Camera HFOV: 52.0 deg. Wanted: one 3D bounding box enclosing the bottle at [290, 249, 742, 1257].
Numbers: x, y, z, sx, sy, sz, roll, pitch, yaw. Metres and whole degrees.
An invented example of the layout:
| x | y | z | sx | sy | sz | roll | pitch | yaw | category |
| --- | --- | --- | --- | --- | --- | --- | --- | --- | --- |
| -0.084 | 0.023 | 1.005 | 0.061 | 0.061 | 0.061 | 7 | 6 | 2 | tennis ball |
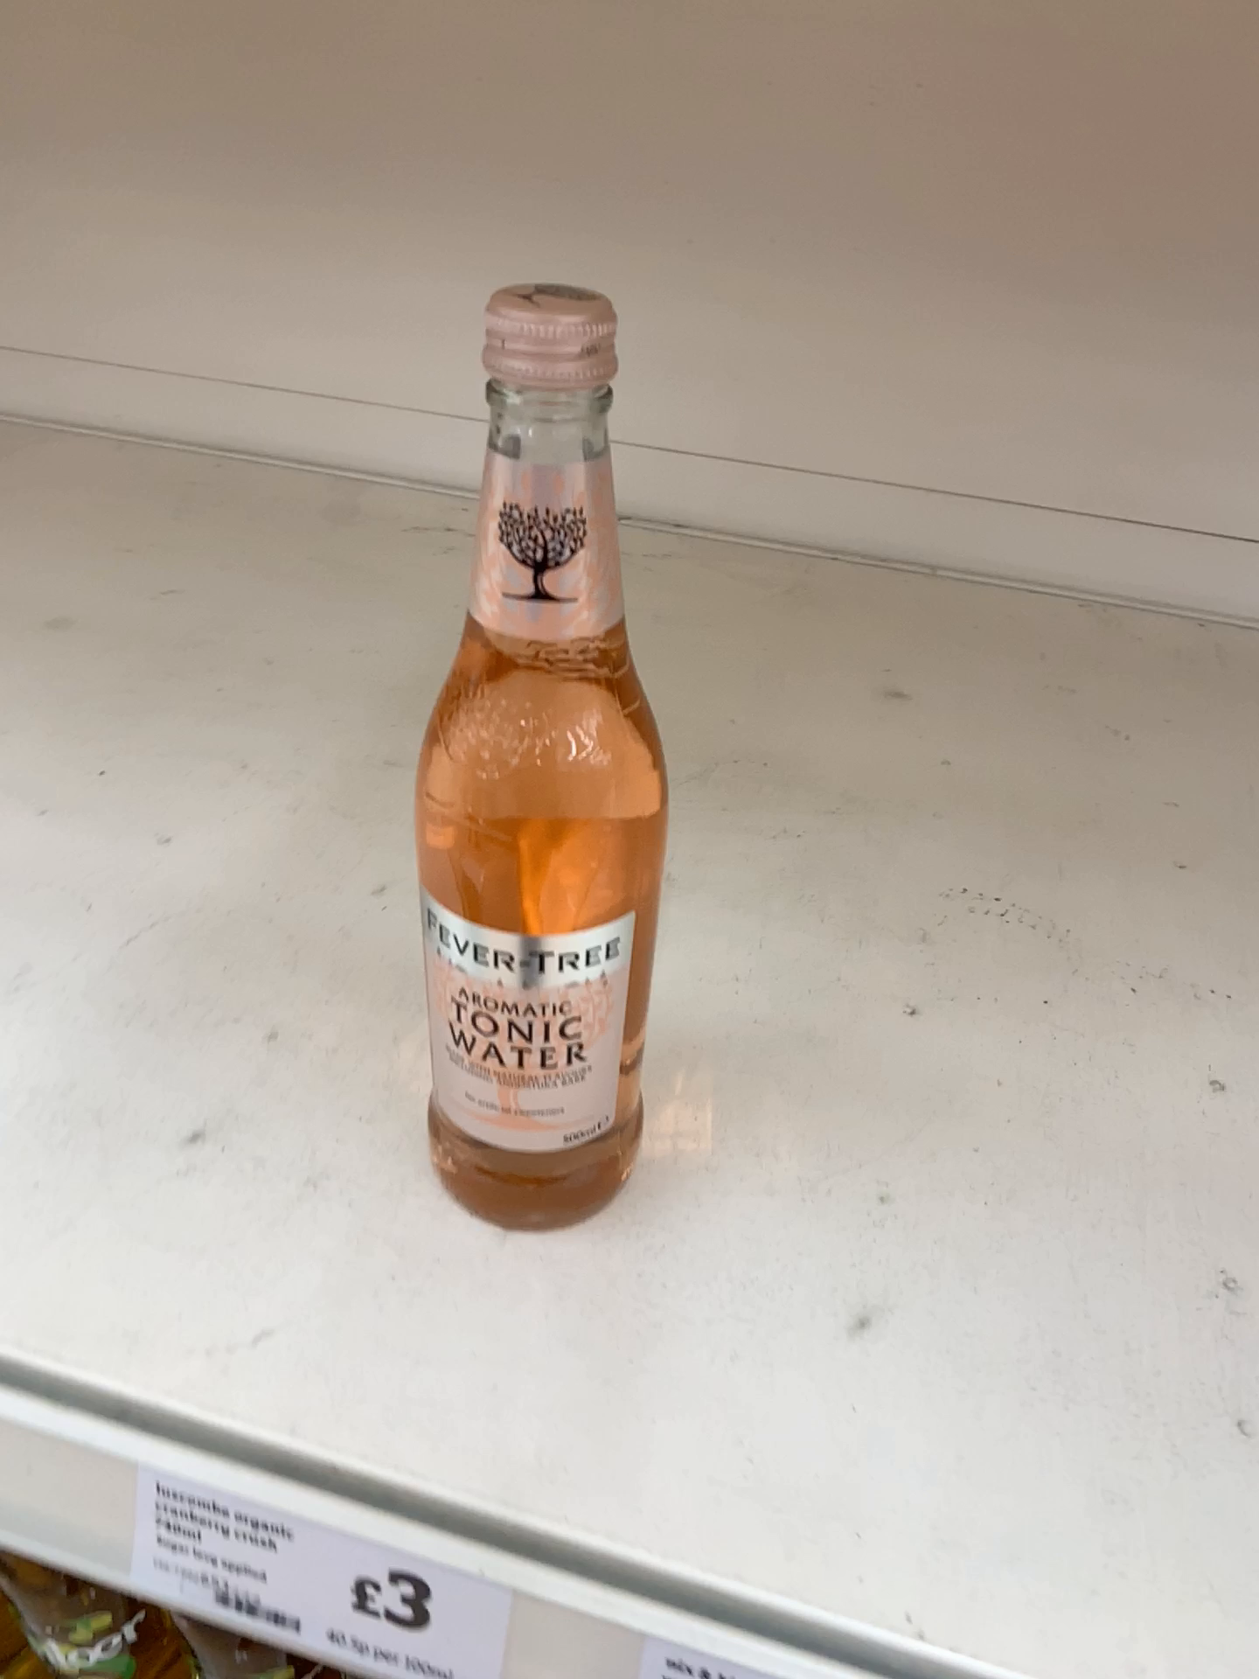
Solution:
| x | y | z | sx | sy | sz | roll | pitch | yaw | category |
| --- | --- | --- | --- | --- | --- | --- | --- | --- | --- |
| -0.026 | -0.007 | 0.336 | 0.078 | 0.253 | 0.068 | 9 | 35 | 7 | bottle |
